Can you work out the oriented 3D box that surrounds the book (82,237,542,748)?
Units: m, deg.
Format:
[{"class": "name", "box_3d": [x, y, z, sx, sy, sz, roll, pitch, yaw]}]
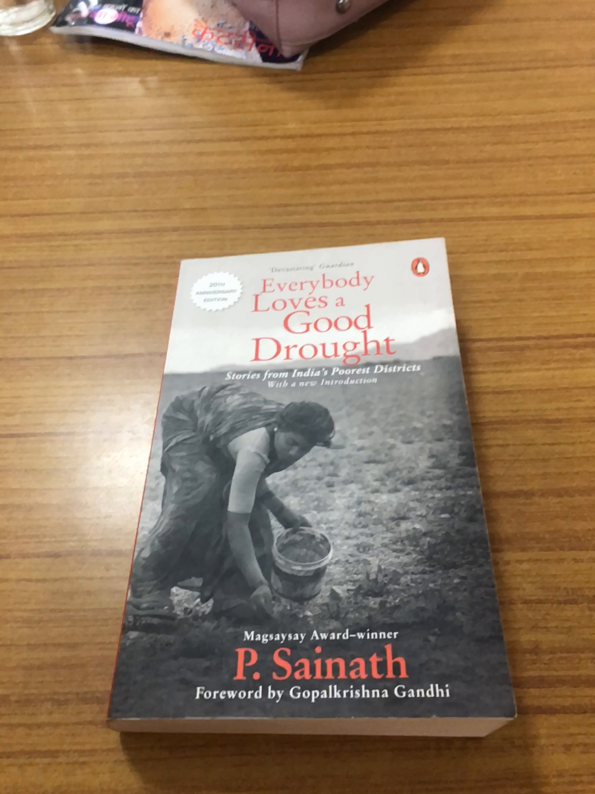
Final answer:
[{"class": "book", "box_3d": [0.006, 0.024, 0.276, 0.140, 0.040, 0.210, -1, 57, 3]}]
